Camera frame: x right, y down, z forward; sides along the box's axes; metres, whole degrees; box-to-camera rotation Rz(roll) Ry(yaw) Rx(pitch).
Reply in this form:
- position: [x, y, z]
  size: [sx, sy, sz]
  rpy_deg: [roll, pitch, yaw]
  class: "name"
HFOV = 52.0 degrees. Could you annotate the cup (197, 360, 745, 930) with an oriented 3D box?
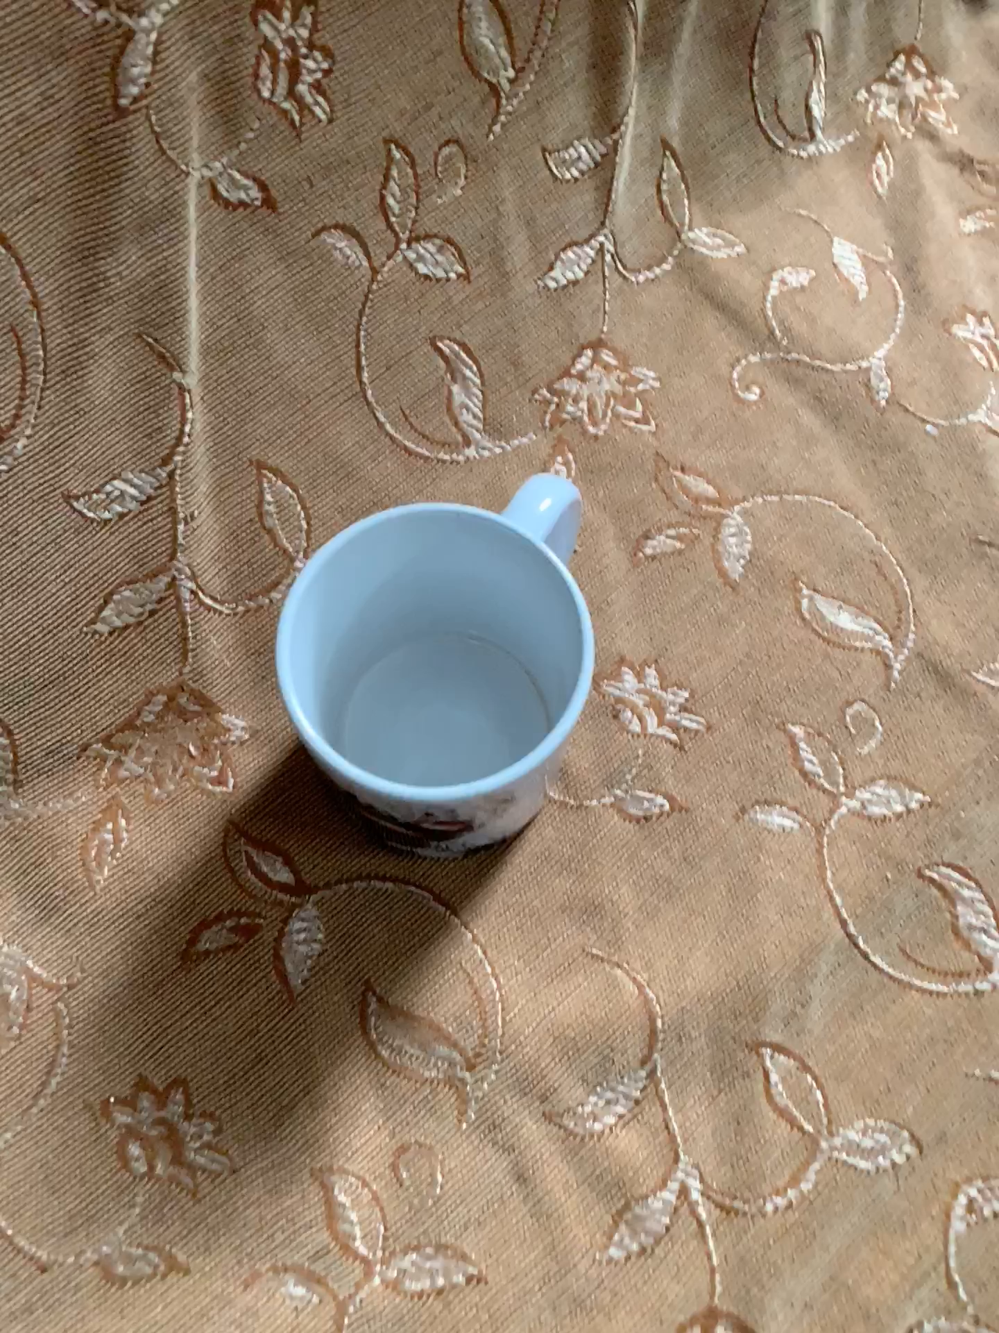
- position: [-0.006, 0.000, 0.305]
  size: [0.079, 0.102, 0.121]
  rpy_deg: [38, 74, 11]
  class: "cup"
